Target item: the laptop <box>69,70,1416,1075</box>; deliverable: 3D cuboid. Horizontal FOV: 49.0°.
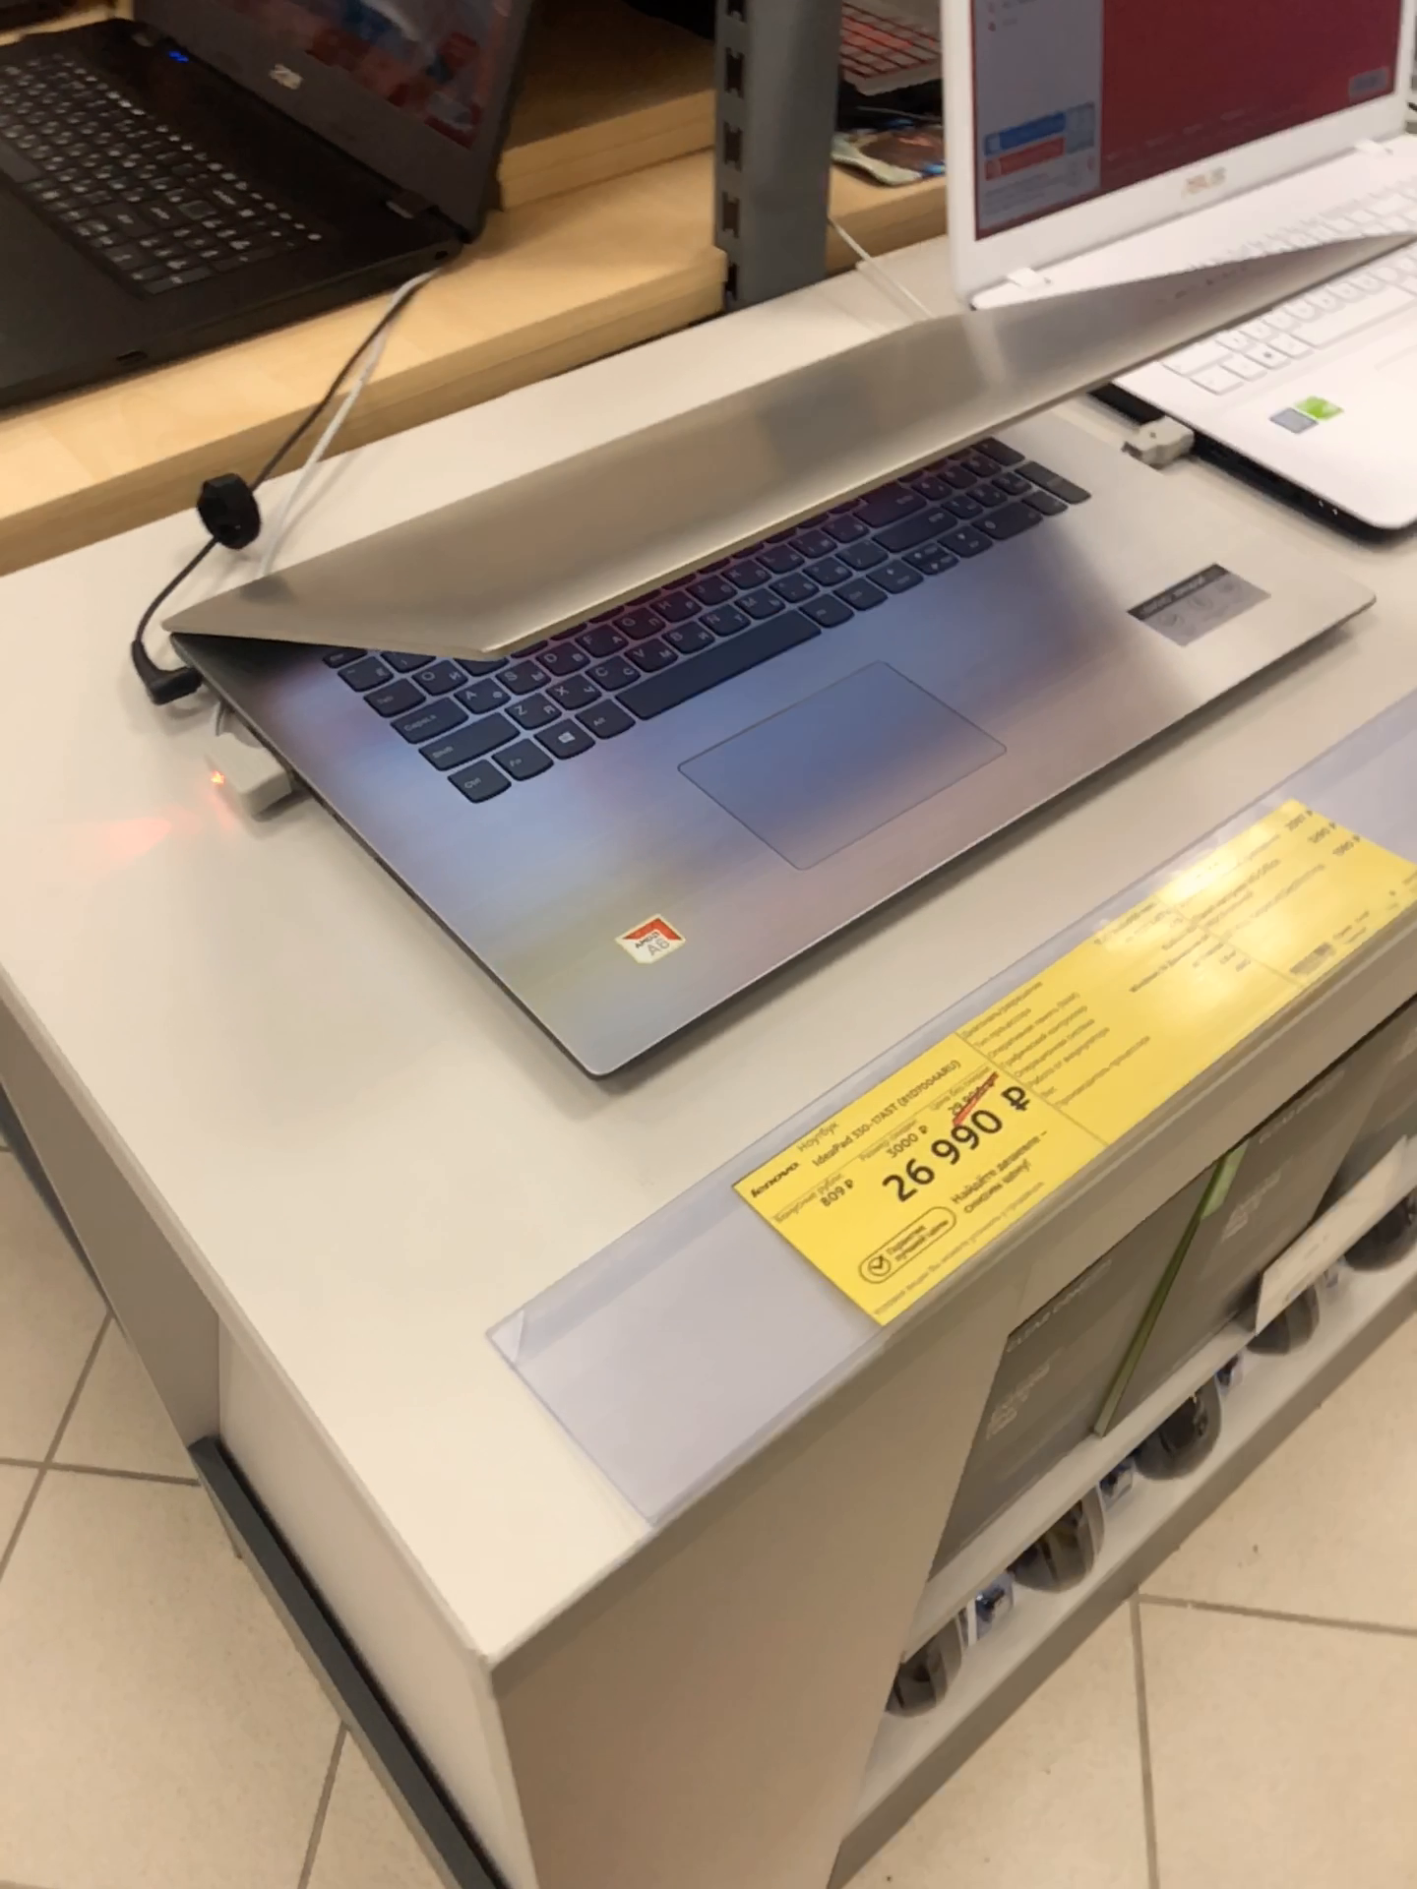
[{"bbox_3d":[0.031,-0.175,0.577,0.399,0.129,0.277,-31,55,-27],"label":"laptop"}]
